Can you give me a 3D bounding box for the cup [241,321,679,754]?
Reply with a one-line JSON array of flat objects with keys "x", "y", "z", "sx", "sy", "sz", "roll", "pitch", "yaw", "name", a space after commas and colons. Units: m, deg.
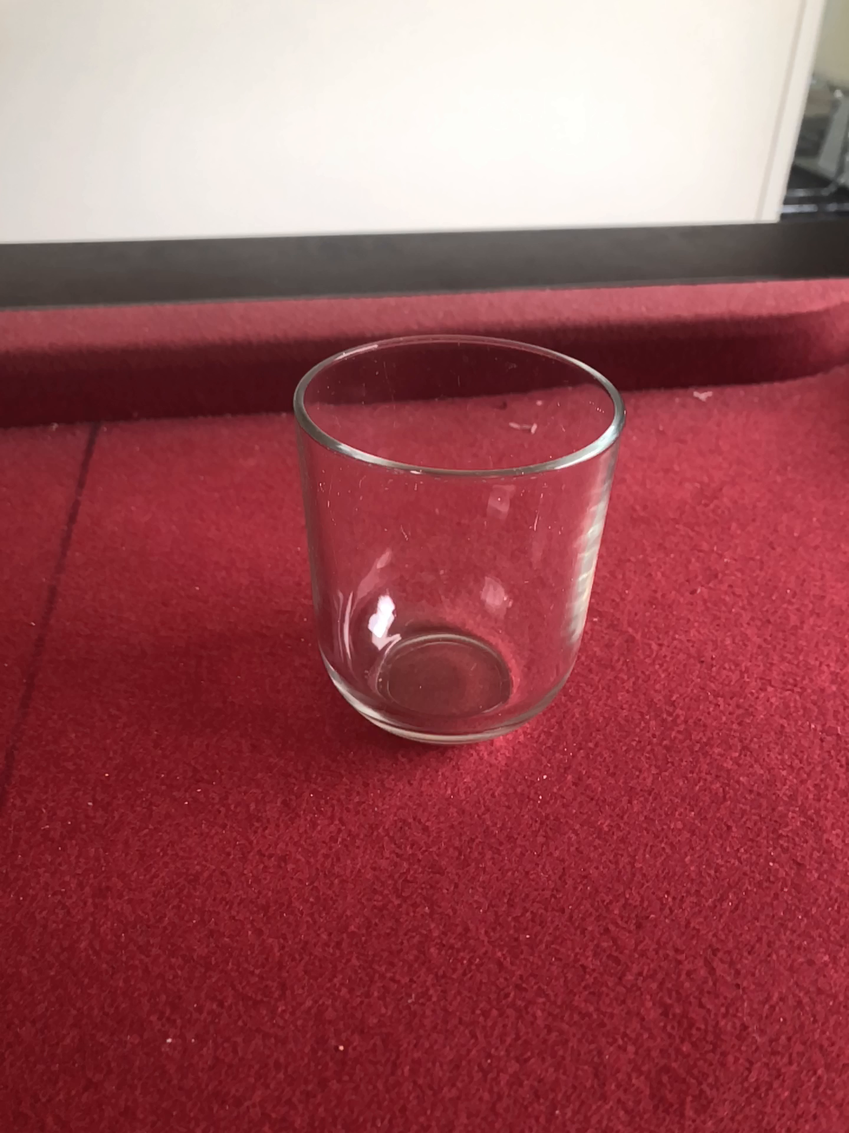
[{"x": 0.005, "y": -0.010, "z": 0.225, "sx": 0.080, "sy": 0.070, "sz": 0.080, "roll": 1, "pitch": 34, "yaw": -1, "name": "cup"}]
